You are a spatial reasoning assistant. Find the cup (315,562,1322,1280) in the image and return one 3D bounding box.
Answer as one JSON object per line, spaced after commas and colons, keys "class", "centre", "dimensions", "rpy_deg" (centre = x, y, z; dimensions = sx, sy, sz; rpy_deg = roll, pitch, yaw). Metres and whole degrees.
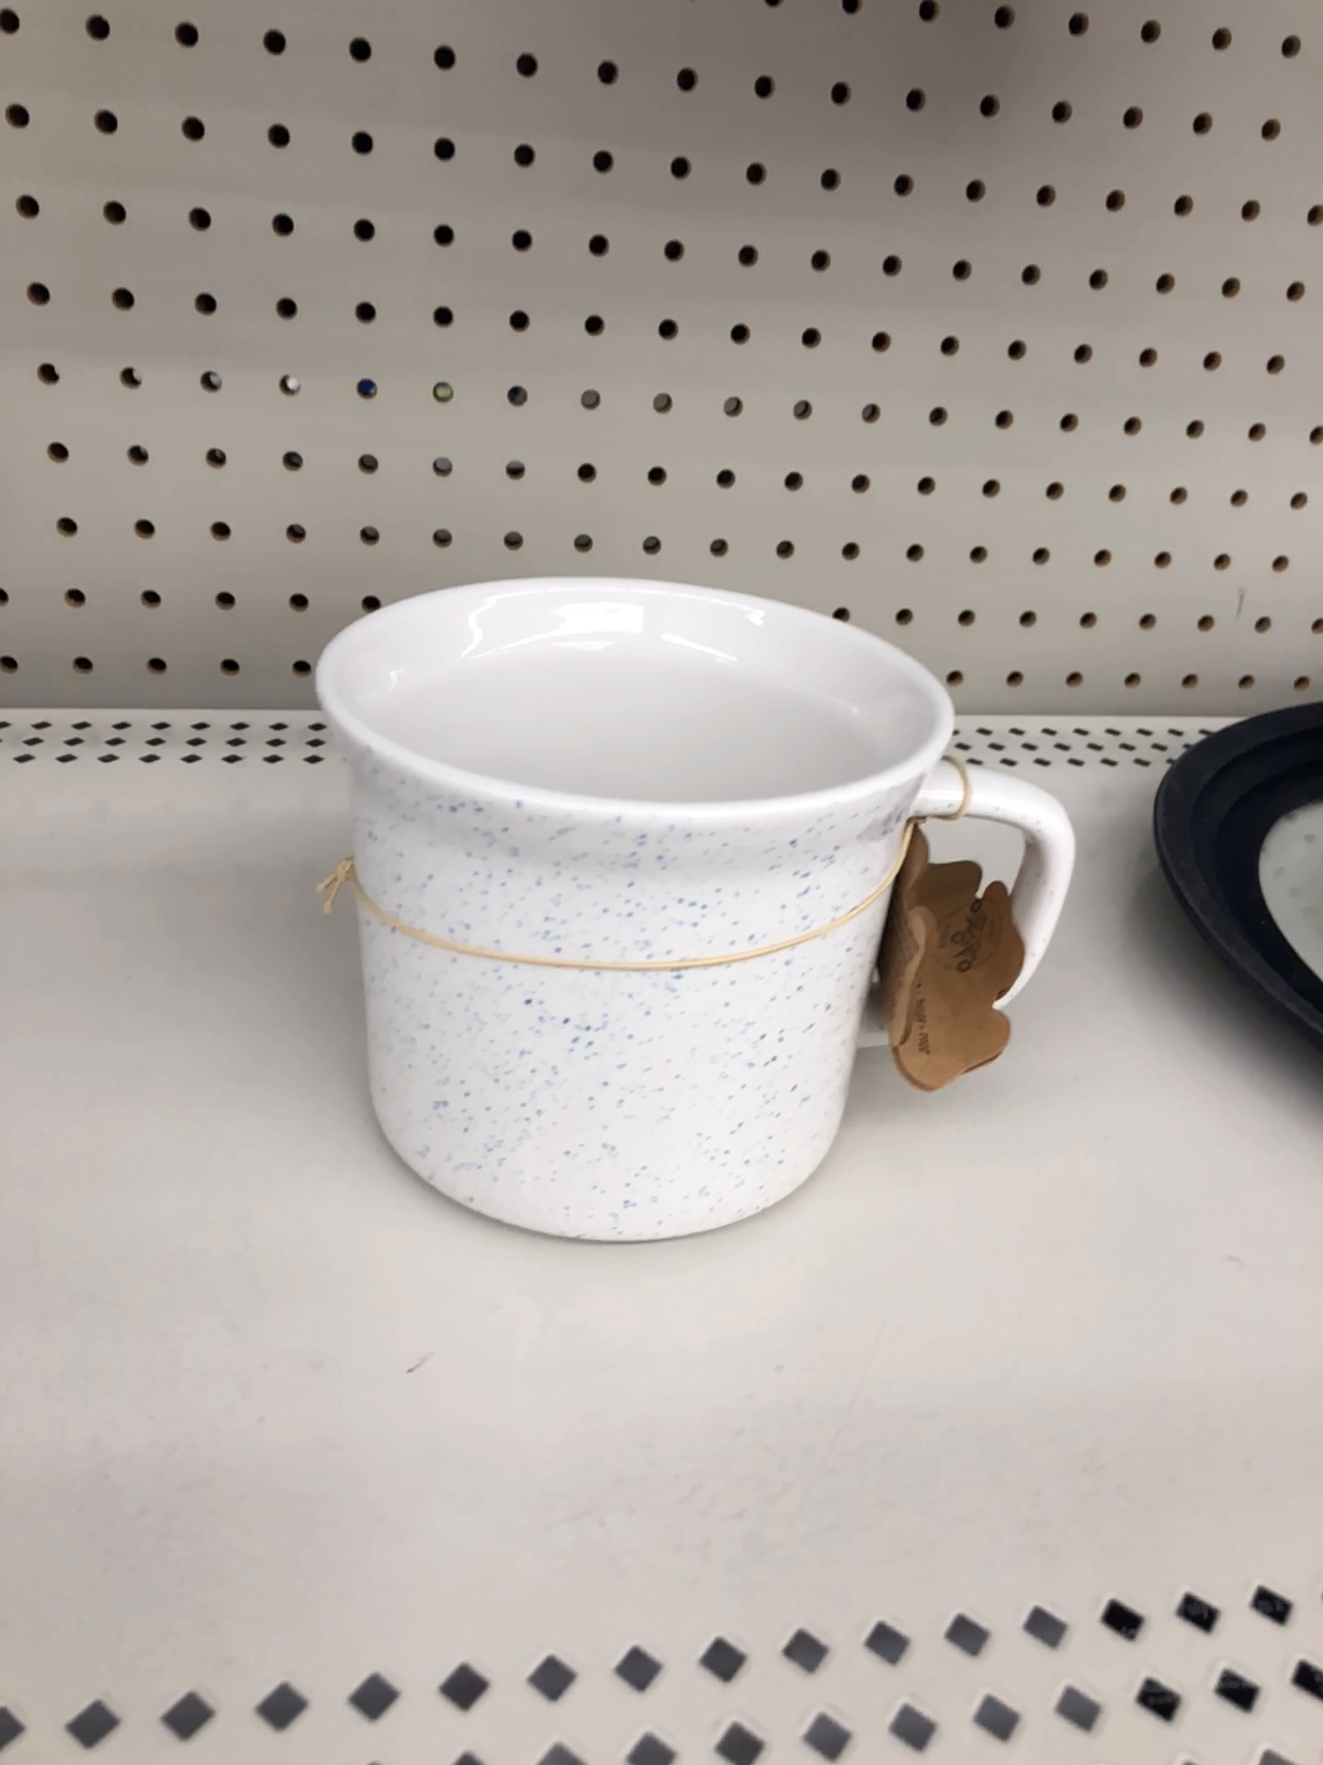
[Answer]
{"class": "cup", "centre": [0.018, -0.002, 0.283], "dimensions": [0.159, 0.090, 0.102], "rpy_deg": [-3, 30, -13]}
